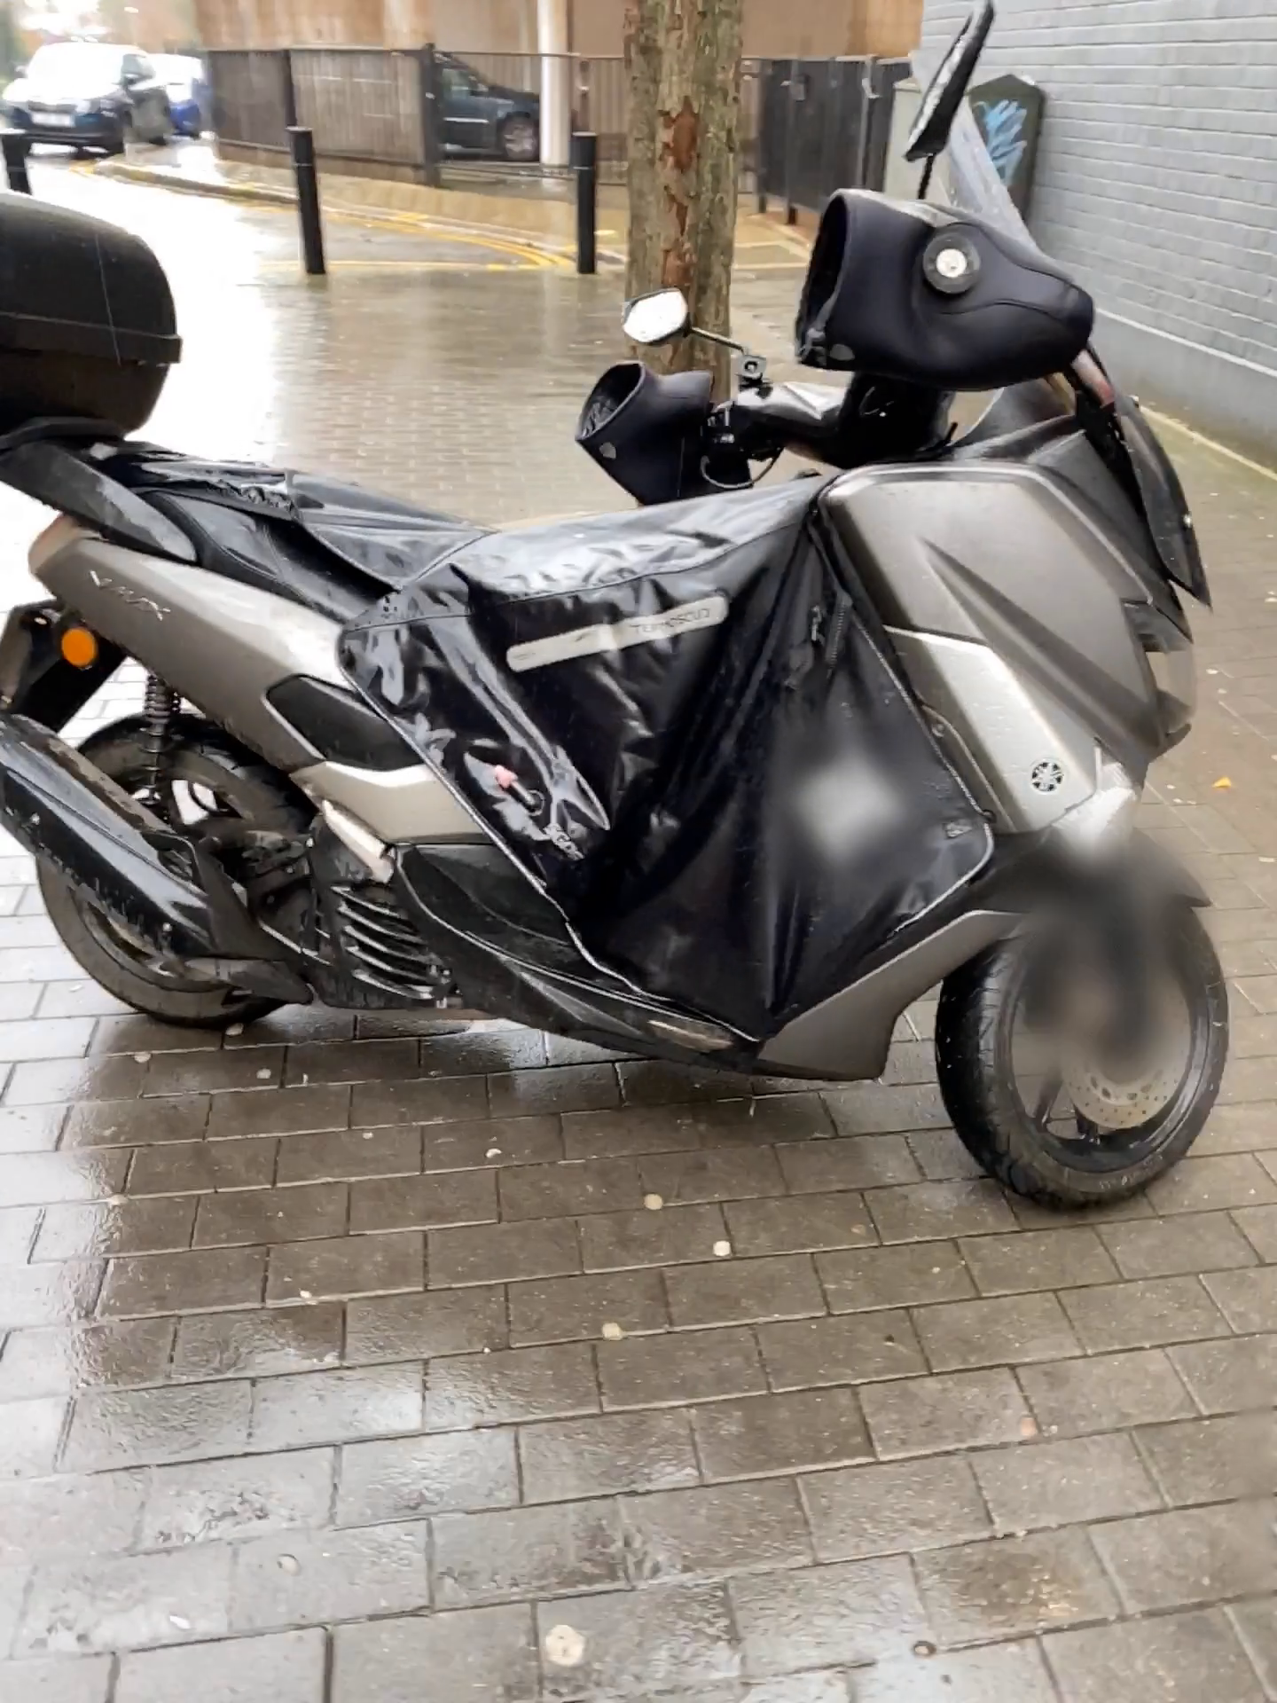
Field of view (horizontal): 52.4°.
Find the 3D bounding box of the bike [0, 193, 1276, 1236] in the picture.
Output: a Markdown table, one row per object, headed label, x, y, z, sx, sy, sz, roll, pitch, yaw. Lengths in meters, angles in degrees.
| label | x | y | z | sx | sy | sz | roll | pitch | yaw |
| --- | --- | --- | --- | --- | --- | --- | --- | --- | --- |
| bike | -0.014 | -0.238 | 1.856 | 1.730 | 1.121 | 0.763 | 5 | 30 | 5 |
